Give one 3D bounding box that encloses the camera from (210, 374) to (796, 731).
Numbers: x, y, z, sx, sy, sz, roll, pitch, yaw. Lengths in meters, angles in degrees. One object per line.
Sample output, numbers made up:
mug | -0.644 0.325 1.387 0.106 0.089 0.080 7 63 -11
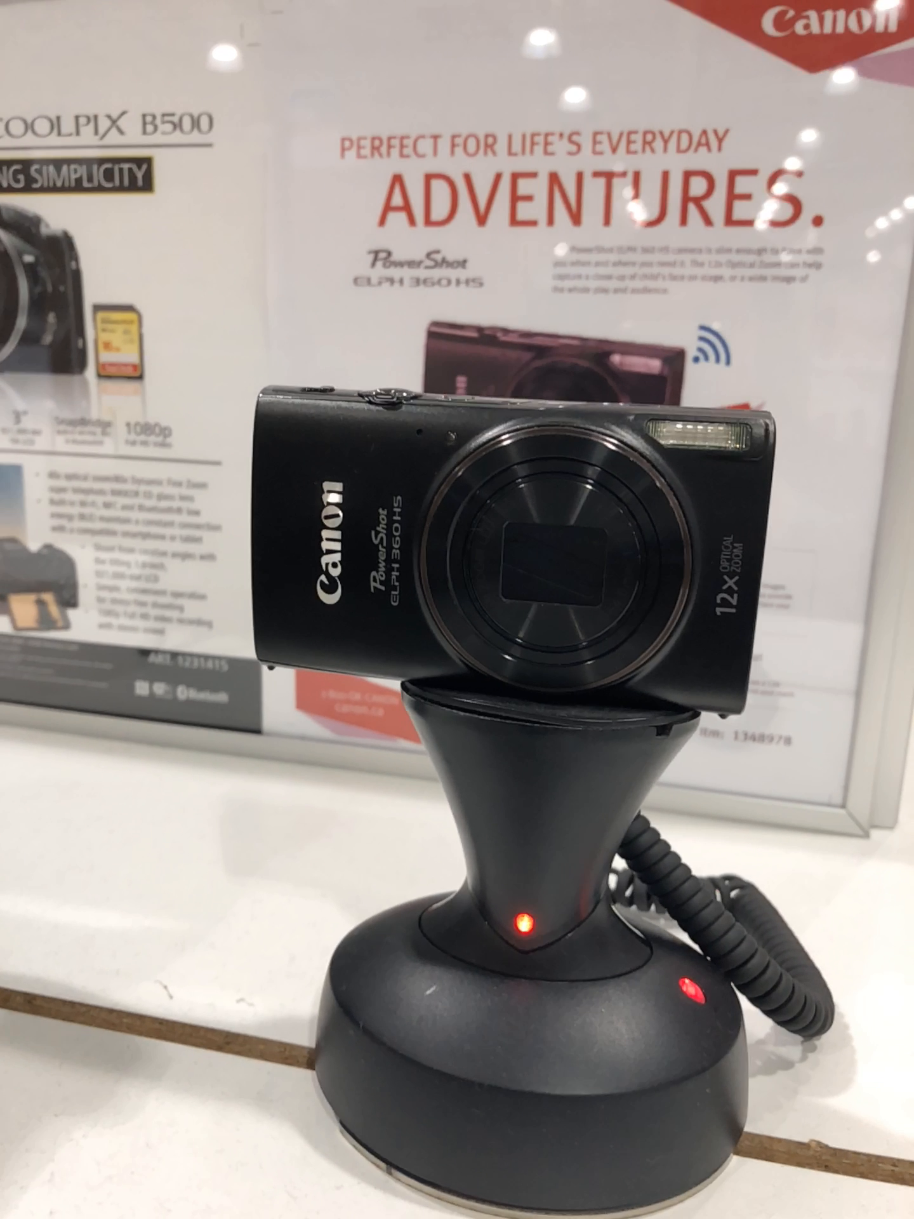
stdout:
camera | 0.007 -0.015 0.211 0.110 0.060 0.030 5 14 12
